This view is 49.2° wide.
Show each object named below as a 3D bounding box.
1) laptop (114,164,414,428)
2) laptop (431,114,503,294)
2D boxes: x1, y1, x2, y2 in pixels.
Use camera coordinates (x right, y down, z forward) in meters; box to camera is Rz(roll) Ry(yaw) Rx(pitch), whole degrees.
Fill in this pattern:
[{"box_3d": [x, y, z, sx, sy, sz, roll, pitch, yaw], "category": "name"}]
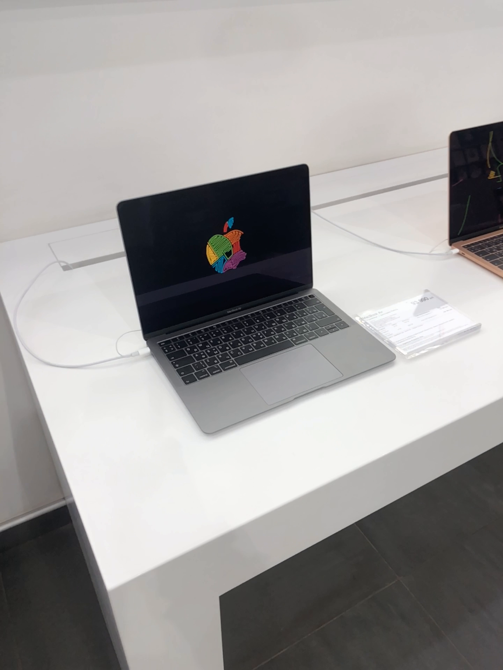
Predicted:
[{"box_3d": [0.009, -0.074, 0.751, 0.285, 0.194, 0.251, -19, 41, -24], "category": "laptop"}, {"box_3d": [0.533, -0.252, 0.984, 0.293, 0.184, 0.261, -17, 39, -22], "category": "laptop"}]
